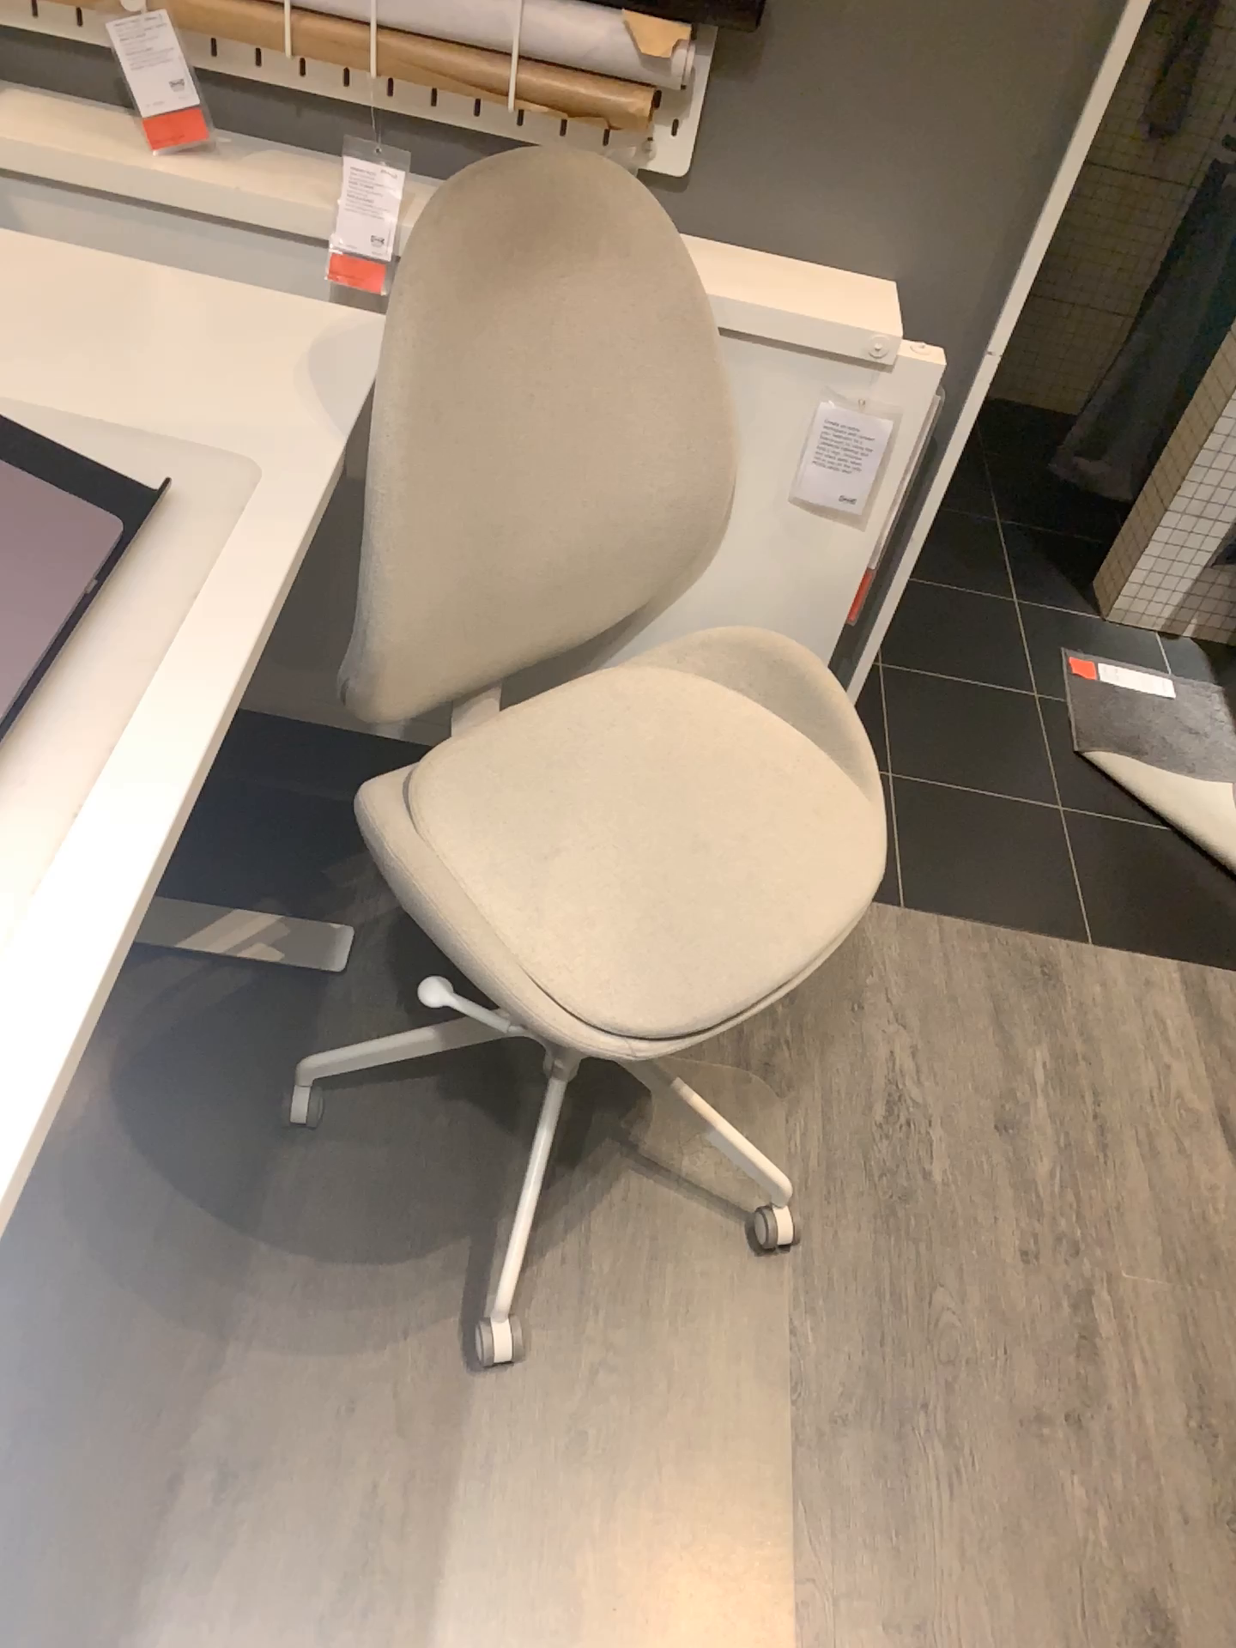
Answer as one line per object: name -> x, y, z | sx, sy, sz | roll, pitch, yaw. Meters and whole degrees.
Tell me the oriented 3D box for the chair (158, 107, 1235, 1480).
chair -> 0.047, -0.008, 1.121 | 0.611, 0.937, 0.591 | -22, 56, -30
